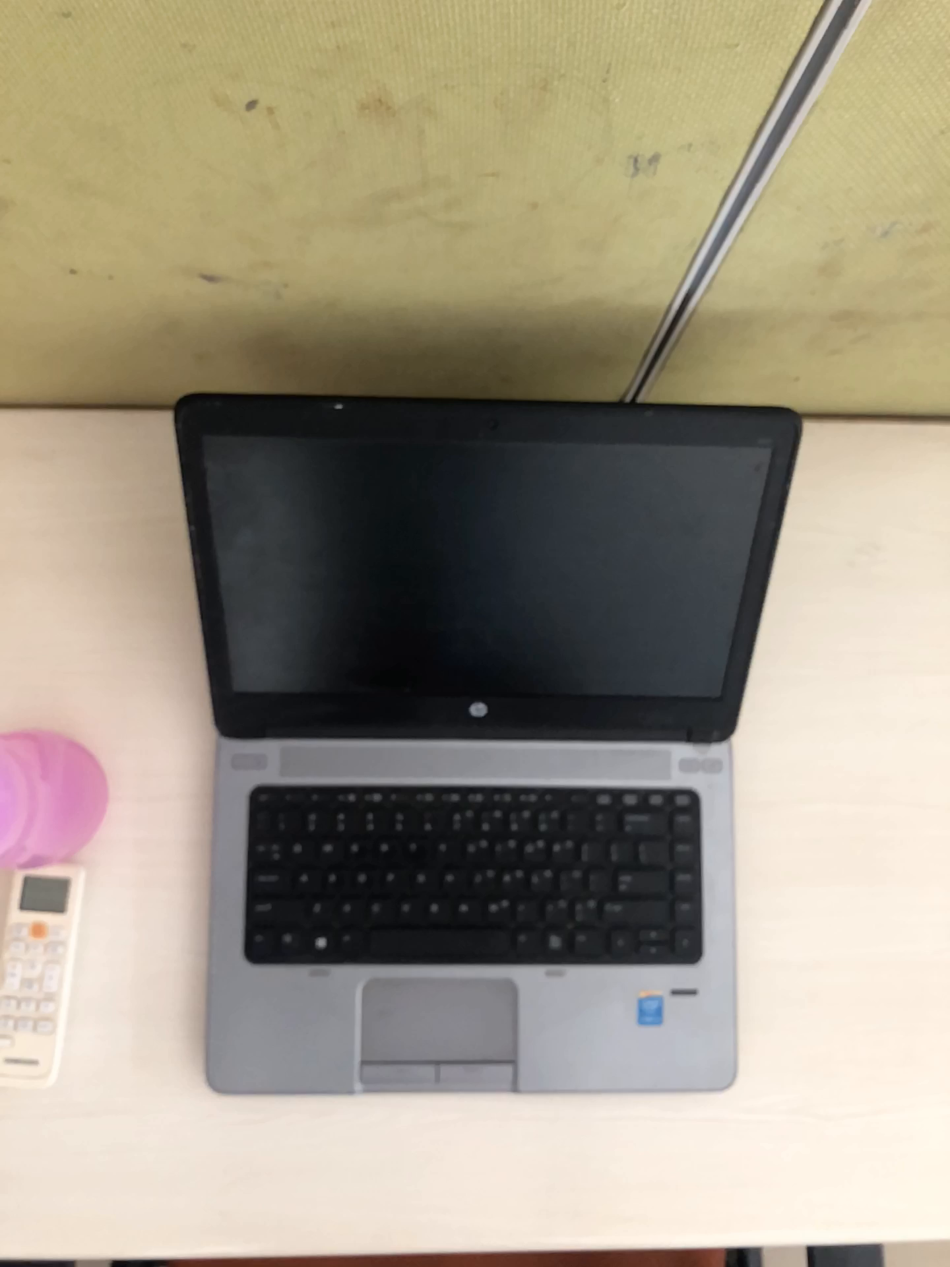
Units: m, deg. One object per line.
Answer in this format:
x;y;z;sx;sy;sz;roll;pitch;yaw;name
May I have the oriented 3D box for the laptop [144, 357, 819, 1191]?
0.004;0.077;0.596;0.326;0.148;0.406;1;86;-2;laptop
